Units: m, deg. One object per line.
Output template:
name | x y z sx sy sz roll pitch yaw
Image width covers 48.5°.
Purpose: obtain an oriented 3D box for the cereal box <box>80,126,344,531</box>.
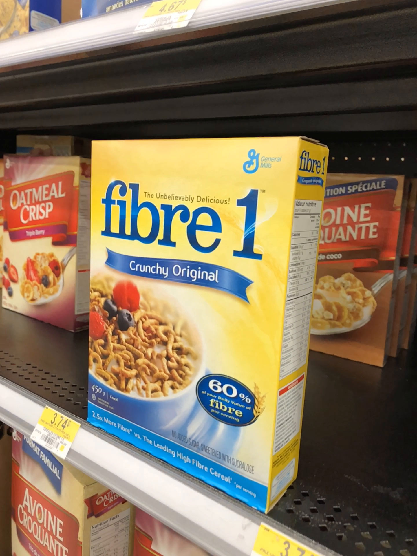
cereal box | -0.014 0.021 0.369 0.200 0.259 0.060 11 13 37
